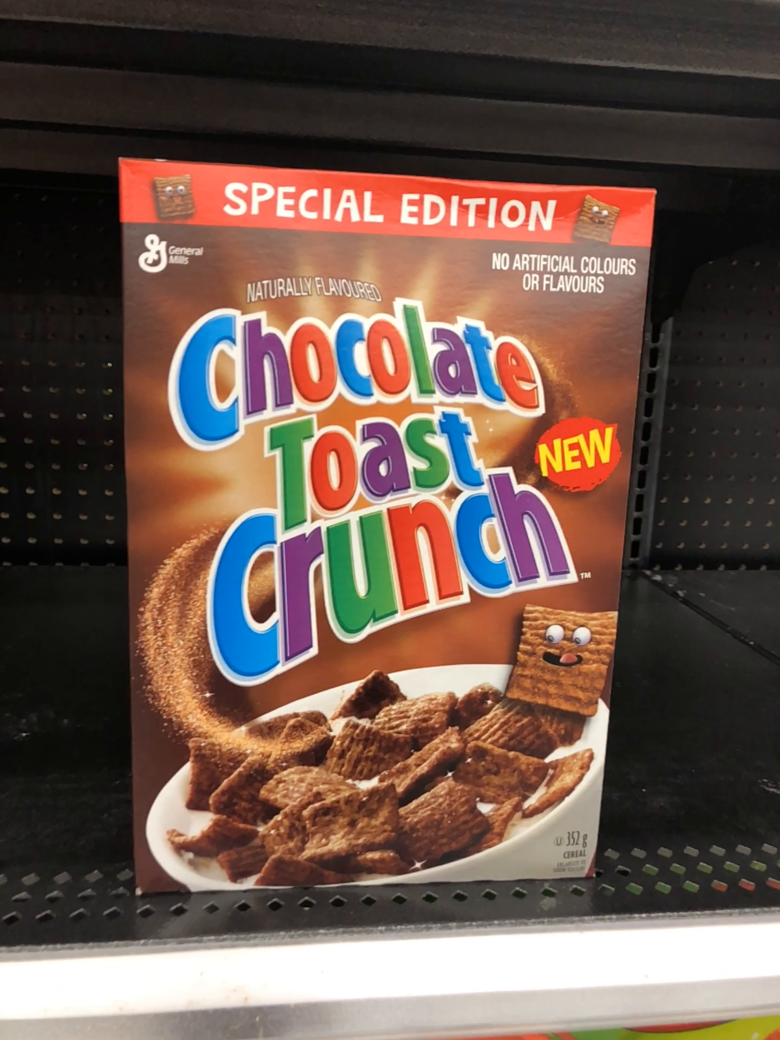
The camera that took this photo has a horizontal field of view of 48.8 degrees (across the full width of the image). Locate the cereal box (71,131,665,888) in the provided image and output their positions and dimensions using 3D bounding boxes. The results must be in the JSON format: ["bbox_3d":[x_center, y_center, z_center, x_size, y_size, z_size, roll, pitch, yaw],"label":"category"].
[{"bbox_3d":[-0.011,0.003,0.337,0.200,0.269,0.050,1,11,-7],"label":"cereal box"}]
